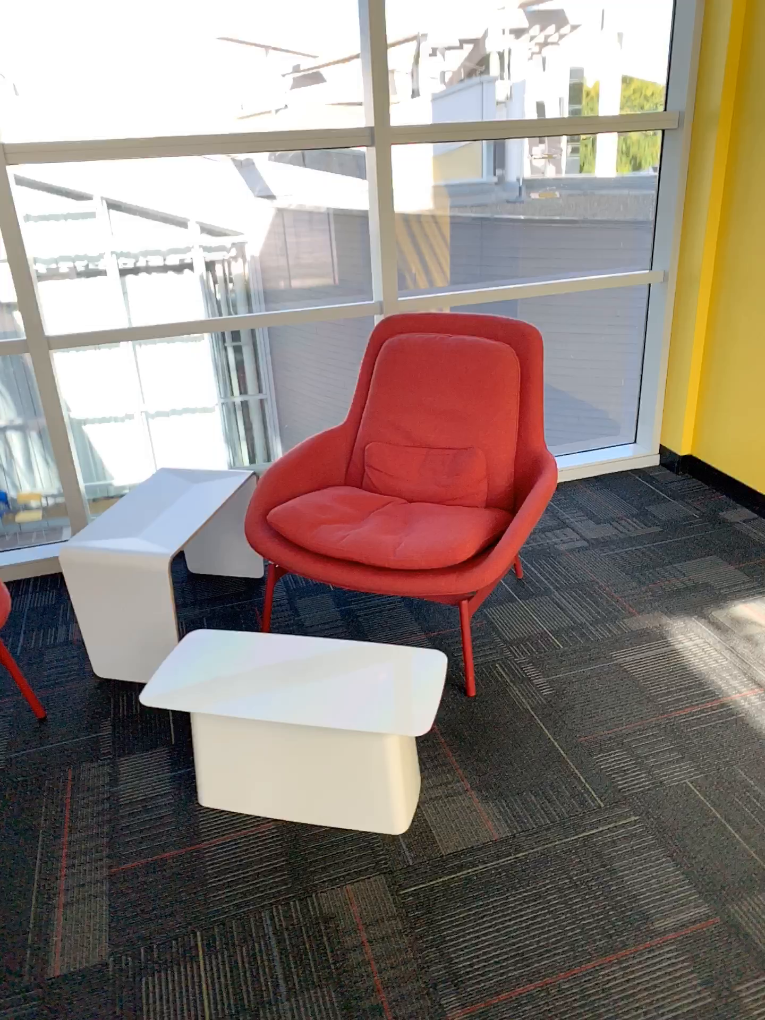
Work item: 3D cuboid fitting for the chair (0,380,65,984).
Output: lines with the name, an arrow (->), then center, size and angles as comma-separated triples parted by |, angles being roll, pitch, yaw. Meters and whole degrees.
chair -> -1.546, 0.328, 1.959 | 0.821, 1.054, 0.874 | 5, 27, 18

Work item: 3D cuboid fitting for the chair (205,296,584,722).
chair -> 0.120, -0.093, 2.520 | 0.871, 0.995, 0.924 | 7, 27, 20
